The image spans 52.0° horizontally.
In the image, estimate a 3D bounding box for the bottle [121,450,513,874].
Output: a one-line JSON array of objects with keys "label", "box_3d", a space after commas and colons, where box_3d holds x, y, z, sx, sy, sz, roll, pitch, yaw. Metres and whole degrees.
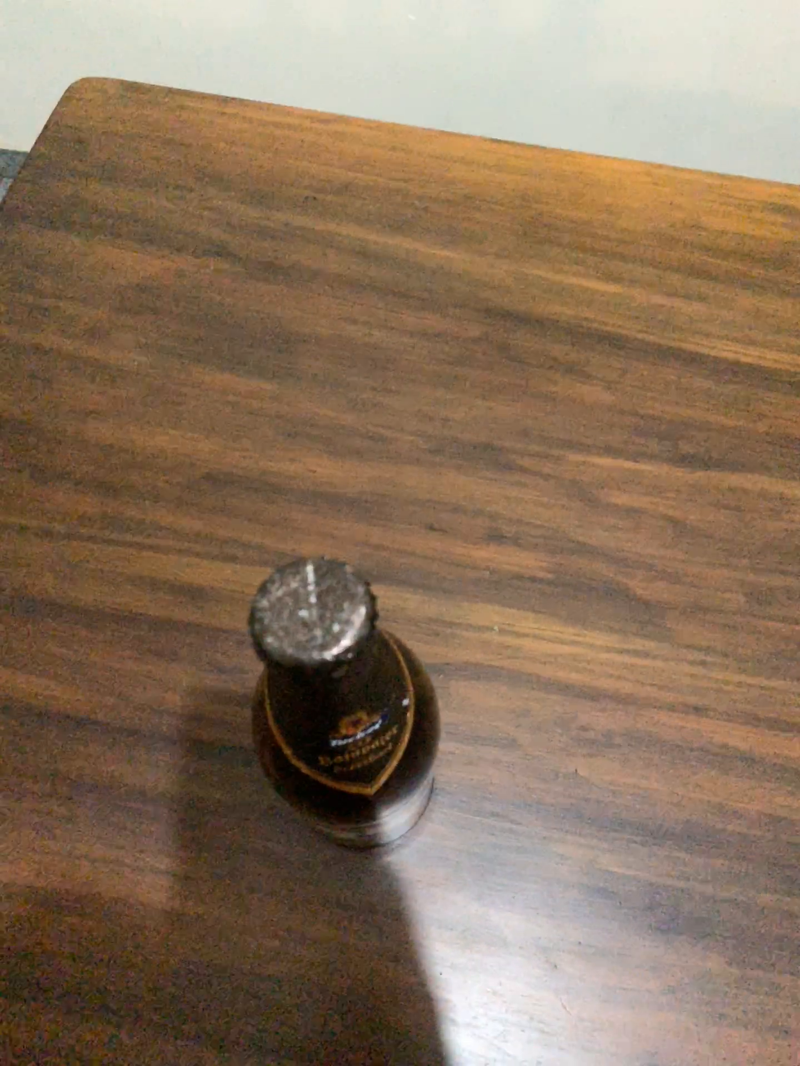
[{"label": "bottle", "box_3d": [-0.018, 0.074, 0.299, 0.070, 0.269, 0.060, -18, 66, -7]}]
